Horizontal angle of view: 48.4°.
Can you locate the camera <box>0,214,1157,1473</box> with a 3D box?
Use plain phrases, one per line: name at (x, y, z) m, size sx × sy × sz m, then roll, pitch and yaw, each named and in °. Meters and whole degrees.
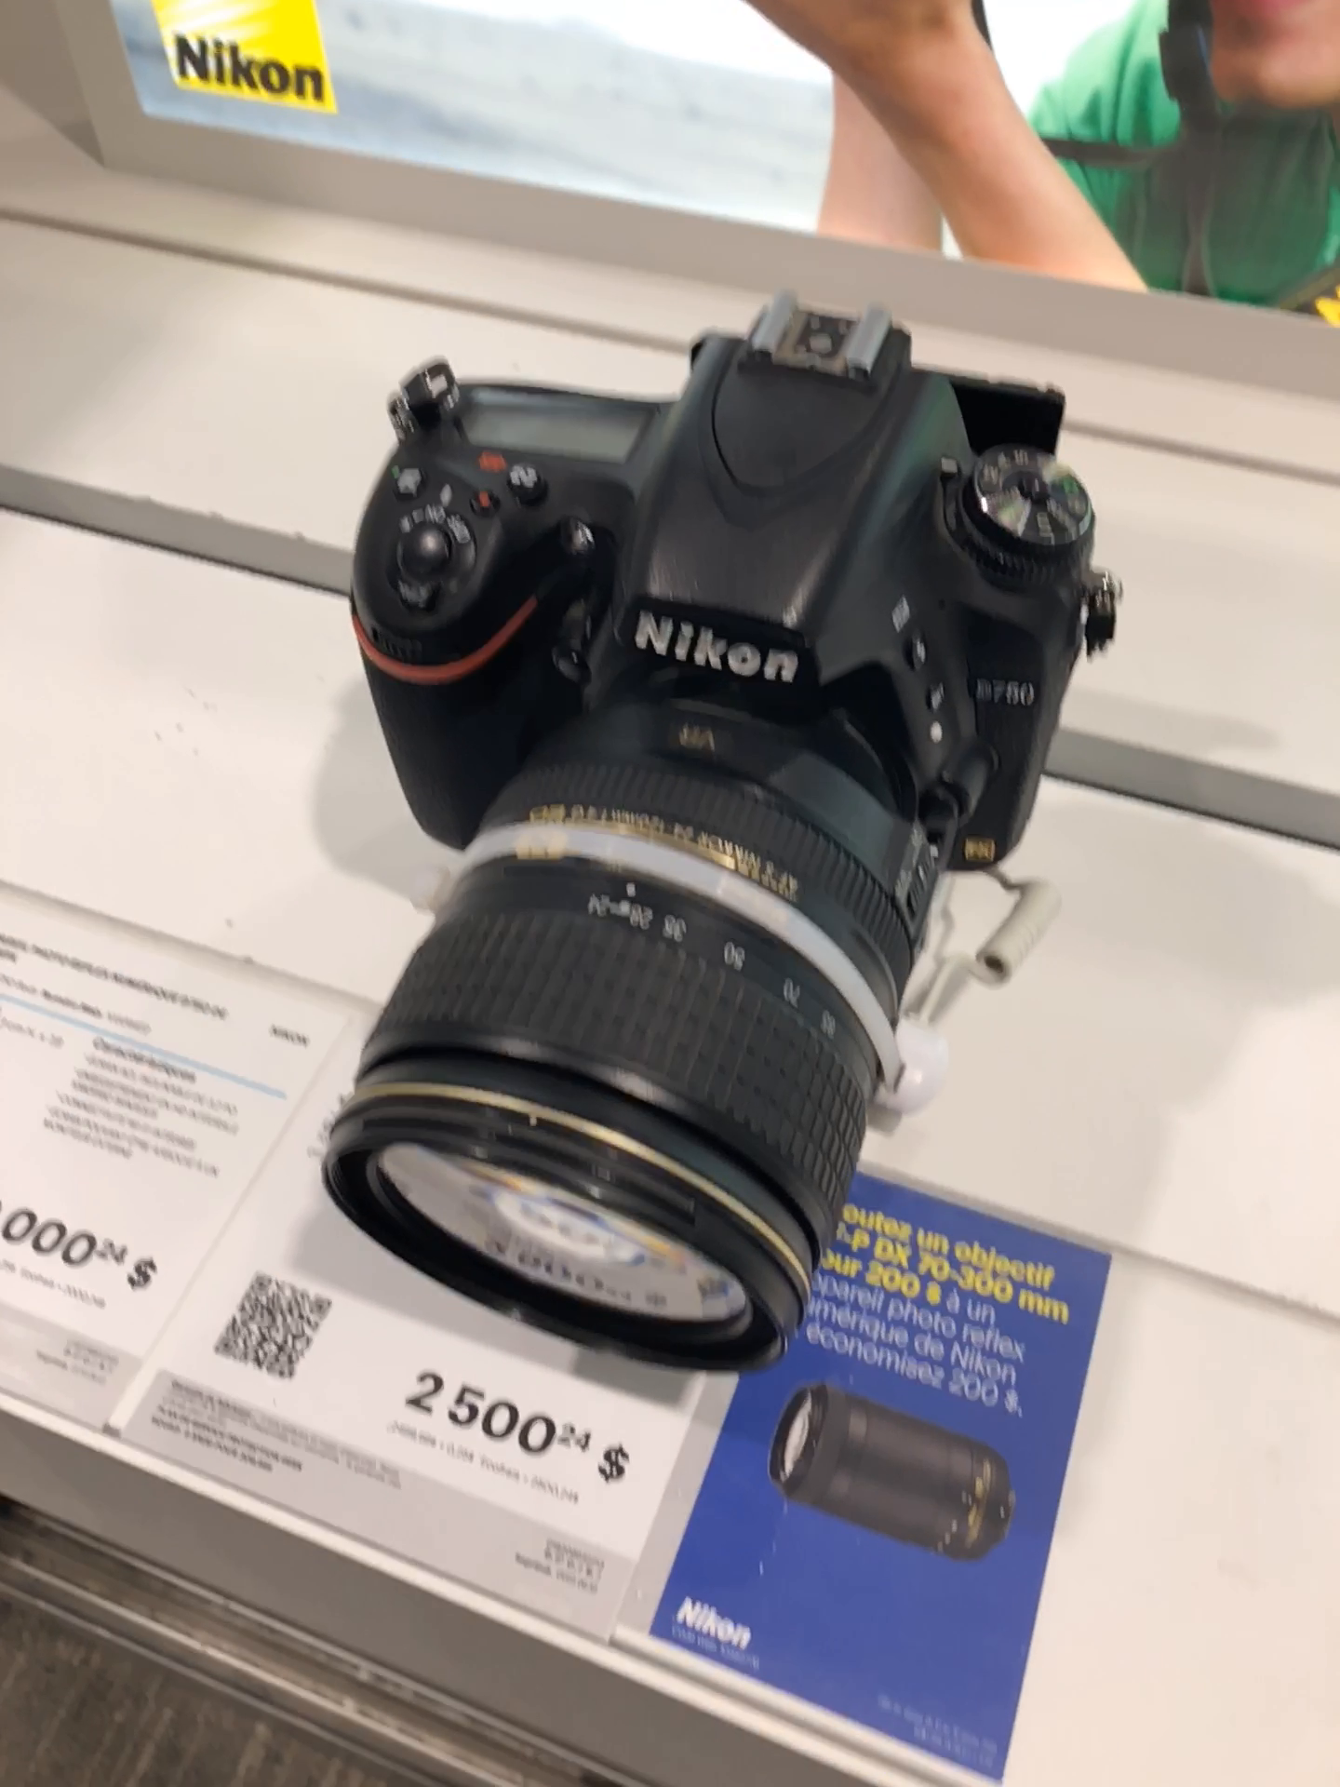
camera at (-0.004, -0.022, 0.272) m, size 0.138 × 0.099 × 0.184 m, roll 14°, pitch 53°, yaw 12°
